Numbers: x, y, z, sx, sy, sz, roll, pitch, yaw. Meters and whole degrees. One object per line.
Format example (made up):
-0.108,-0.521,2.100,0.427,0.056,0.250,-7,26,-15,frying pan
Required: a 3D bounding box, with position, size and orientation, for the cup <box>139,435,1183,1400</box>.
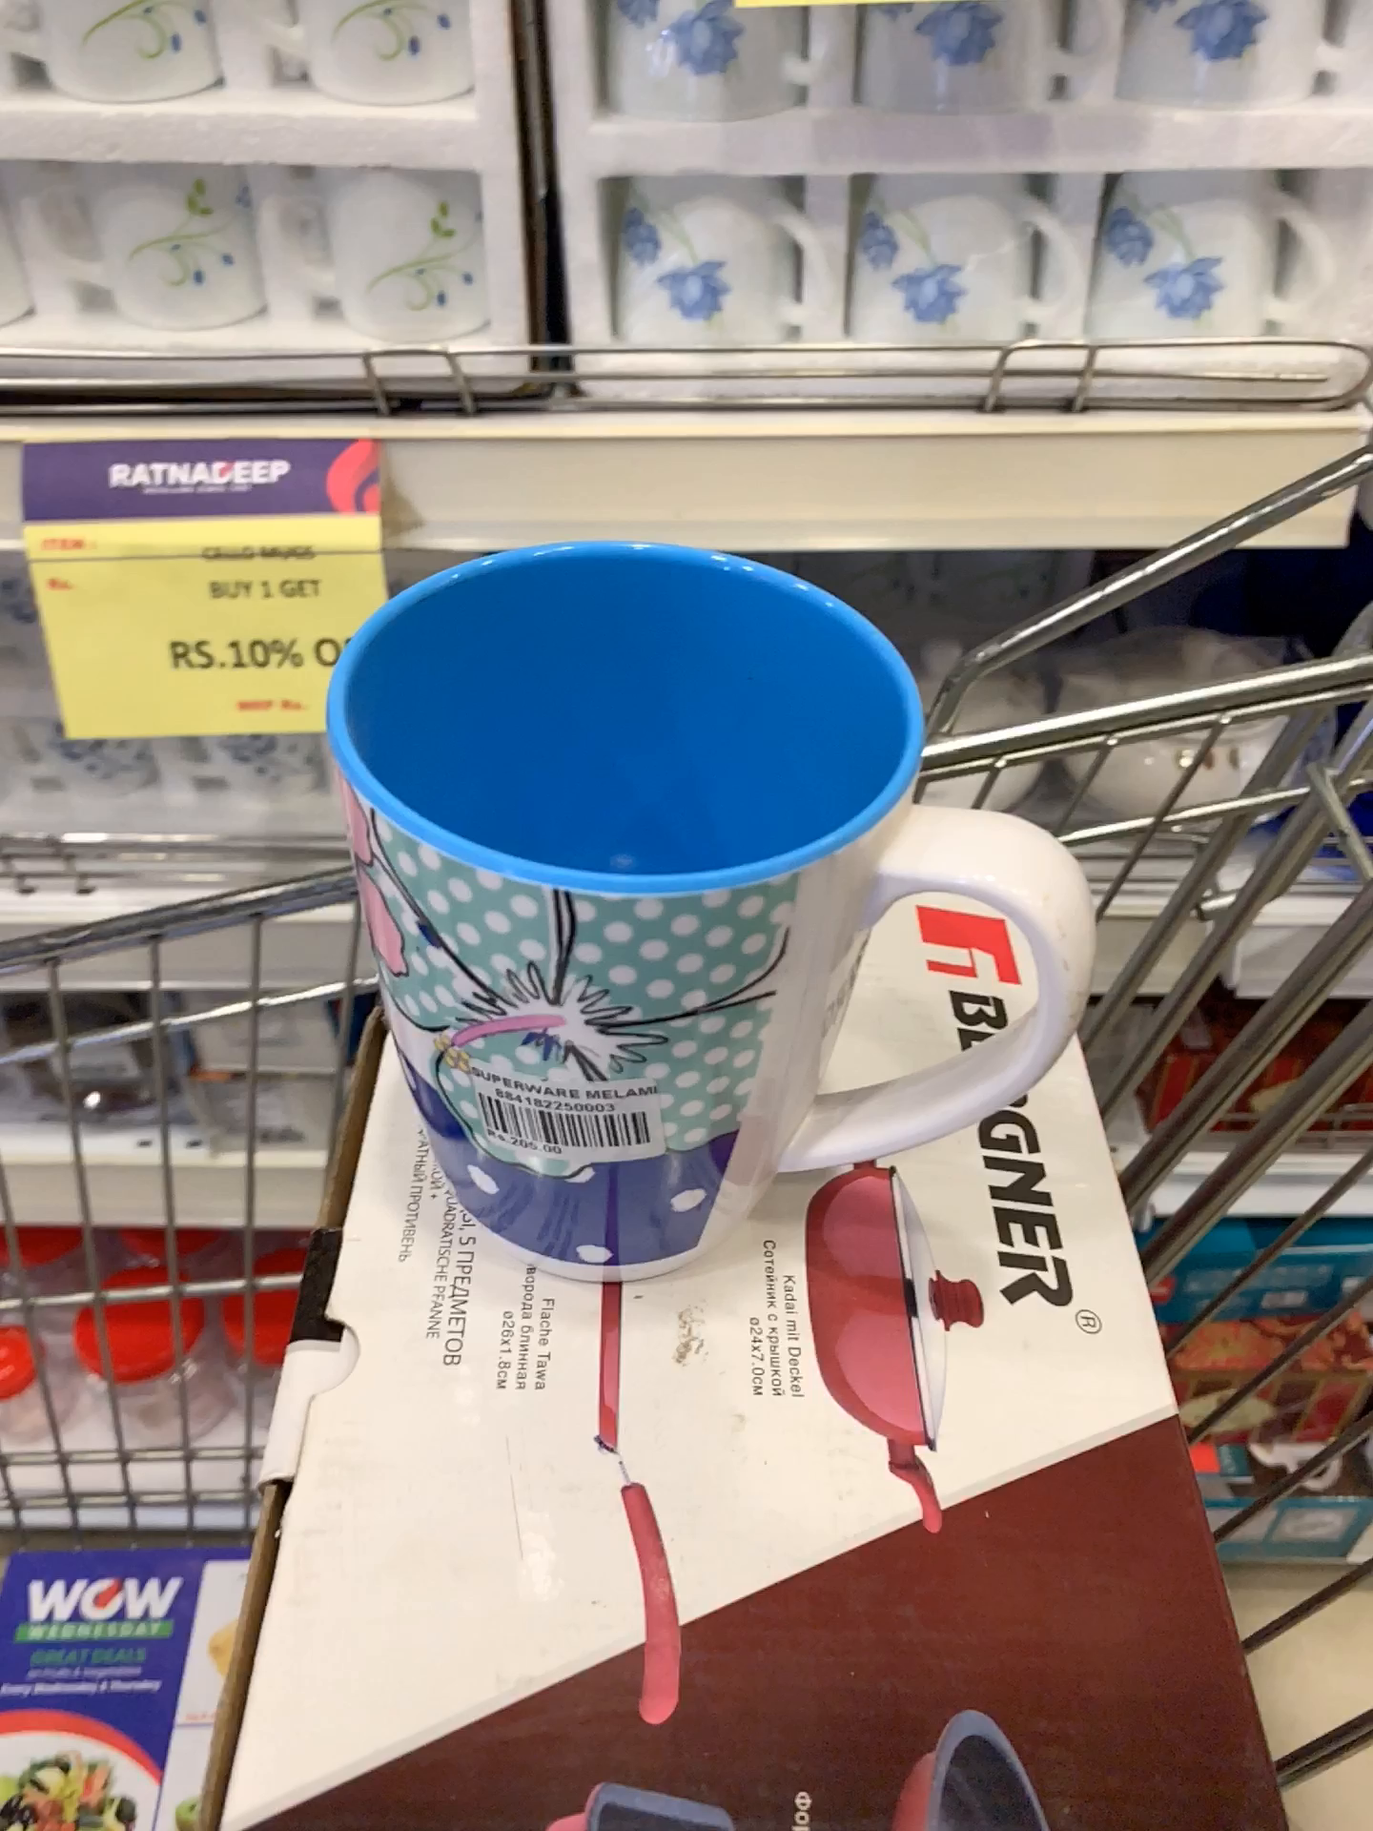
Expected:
0.001,-0.001,0.222,0.120,0.100,0.080,13,45,10,cup
